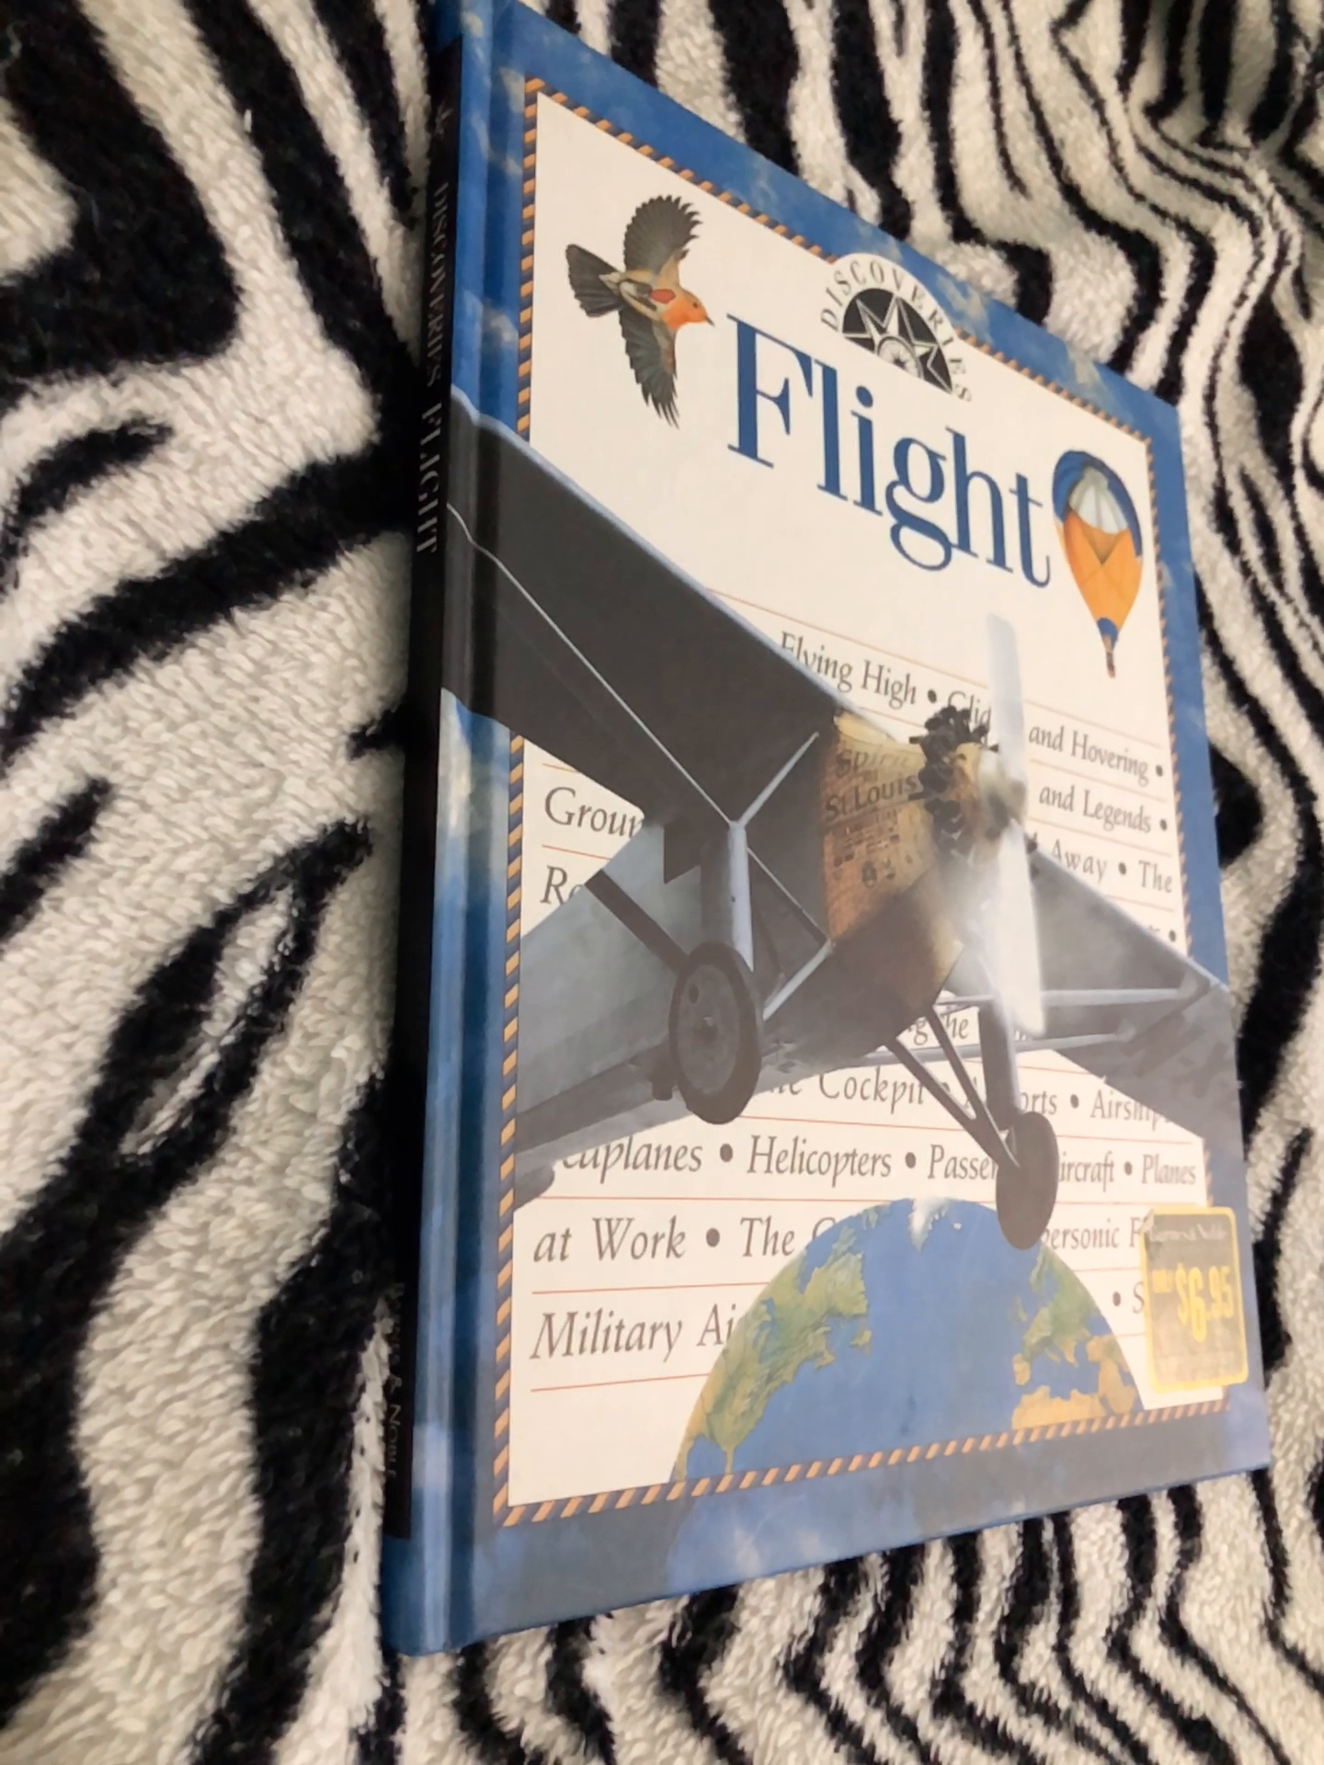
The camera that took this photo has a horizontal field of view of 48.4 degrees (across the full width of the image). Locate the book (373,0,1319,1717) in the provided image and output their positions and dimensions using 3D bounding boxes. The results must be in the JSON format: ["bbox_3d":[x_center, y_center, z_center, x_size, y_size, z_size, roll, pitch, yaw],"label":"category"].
[{"bbox_3d":[0.060,-0.010,0.329,0.260,0.020,0.300,11,73,-40],"label":"book"}]
